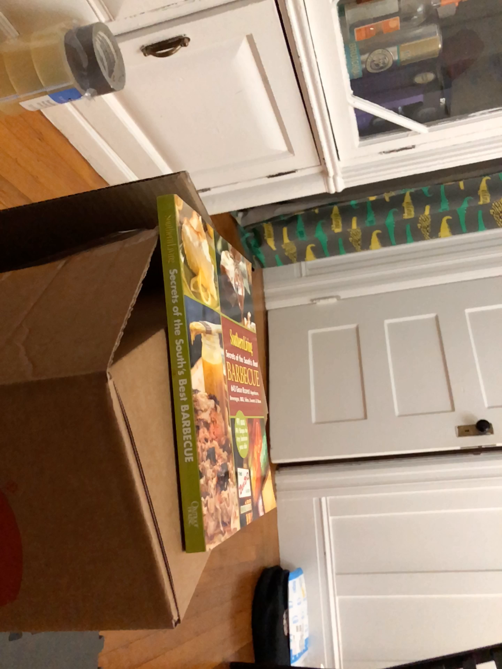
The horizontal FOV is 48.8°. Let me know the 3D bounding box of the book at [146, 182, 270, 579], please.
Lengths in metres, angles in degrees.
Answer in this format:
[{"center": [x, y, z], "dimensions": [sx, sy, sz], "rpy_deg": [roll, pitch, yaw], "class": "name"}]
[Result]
[{"center": [-0.031, 0.042, 0.510], "dimensions": [0.221, 0.020, 0.290], "rpy_deg": [30, 54, -72], "class": "book"}]
